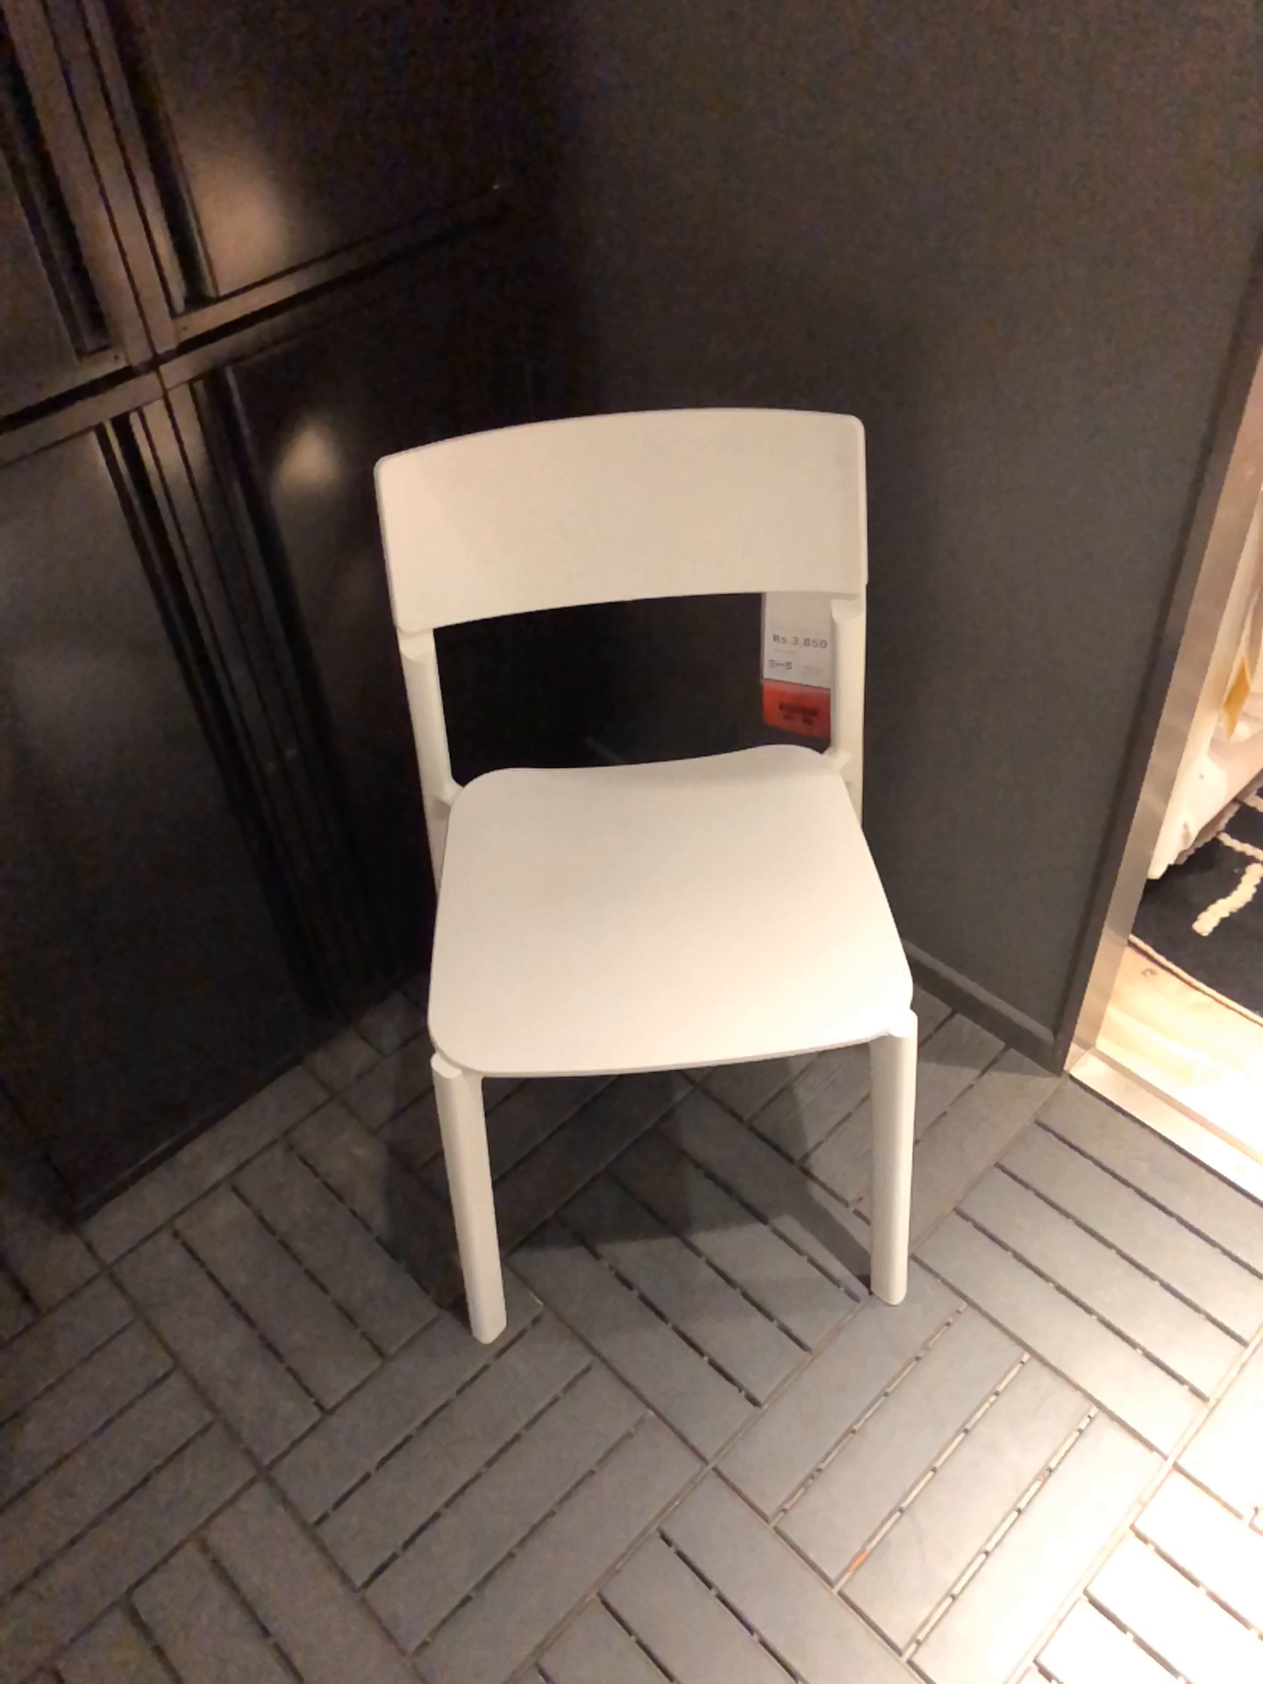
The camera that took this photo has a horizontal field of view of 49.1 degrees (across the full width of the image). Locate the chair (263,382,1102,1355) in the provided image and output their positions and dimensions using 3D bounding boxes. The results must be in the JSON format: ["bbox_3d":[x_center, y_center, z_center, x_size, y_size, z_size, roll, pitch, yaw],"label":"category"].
[{"bbox_3d":[0.034,0.050,1.237,0.500,0.705,0.473,-5,44,-1],"label":"chair"}]
